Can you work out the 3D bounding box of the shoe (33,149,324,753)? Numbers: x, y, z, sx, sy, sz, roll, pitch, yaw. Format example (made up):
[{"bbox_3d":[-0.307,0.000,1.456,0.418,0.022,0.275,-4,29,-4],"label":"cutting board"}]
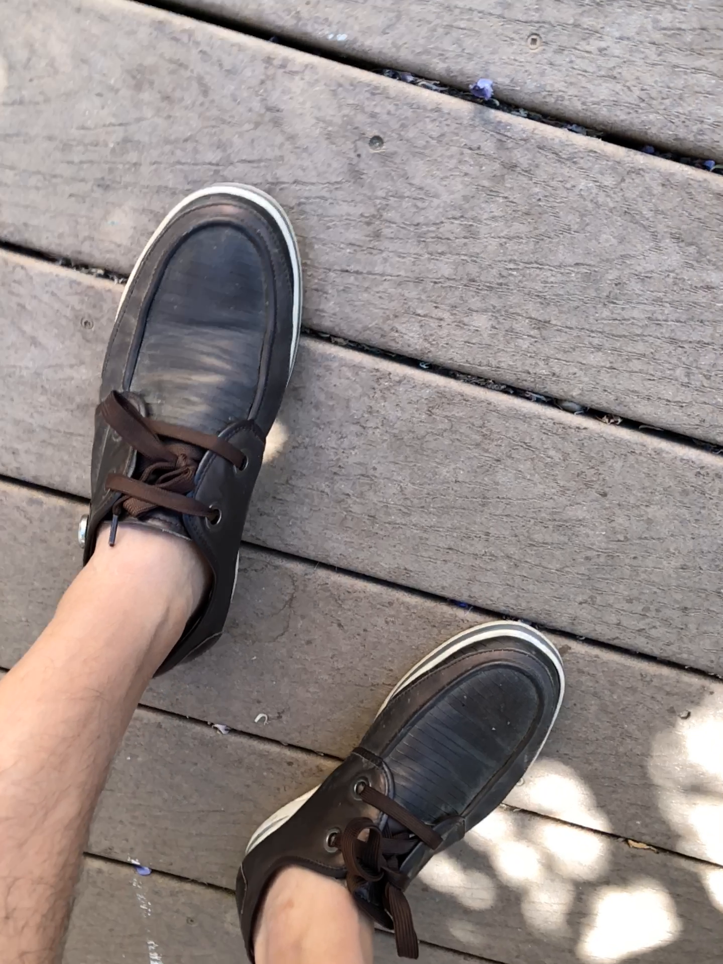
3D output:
[{"bbox_3d":[-0.097,-0.012,0.421,0.104,0.096,0.283,10,109,0],"label":"shoe"}]

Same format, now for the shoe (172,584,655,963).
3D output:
[{"bbox_3d":[0.023,0.204,0.484,0.104,0.089,0.277,42,106,-10],"label":"shoe"}]
